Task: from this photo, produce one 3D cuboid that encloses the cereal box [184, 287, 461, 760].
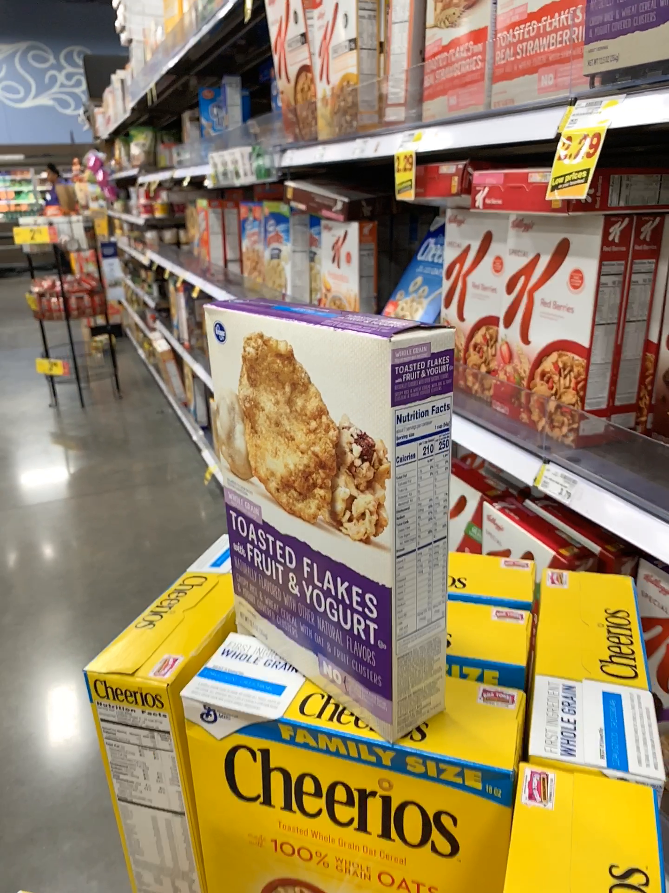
[{"bbox_3d":[-0.014,0.039,0.480,0.060,0.269,0.201,-18,26,-36],"label":"cereal box"}]
